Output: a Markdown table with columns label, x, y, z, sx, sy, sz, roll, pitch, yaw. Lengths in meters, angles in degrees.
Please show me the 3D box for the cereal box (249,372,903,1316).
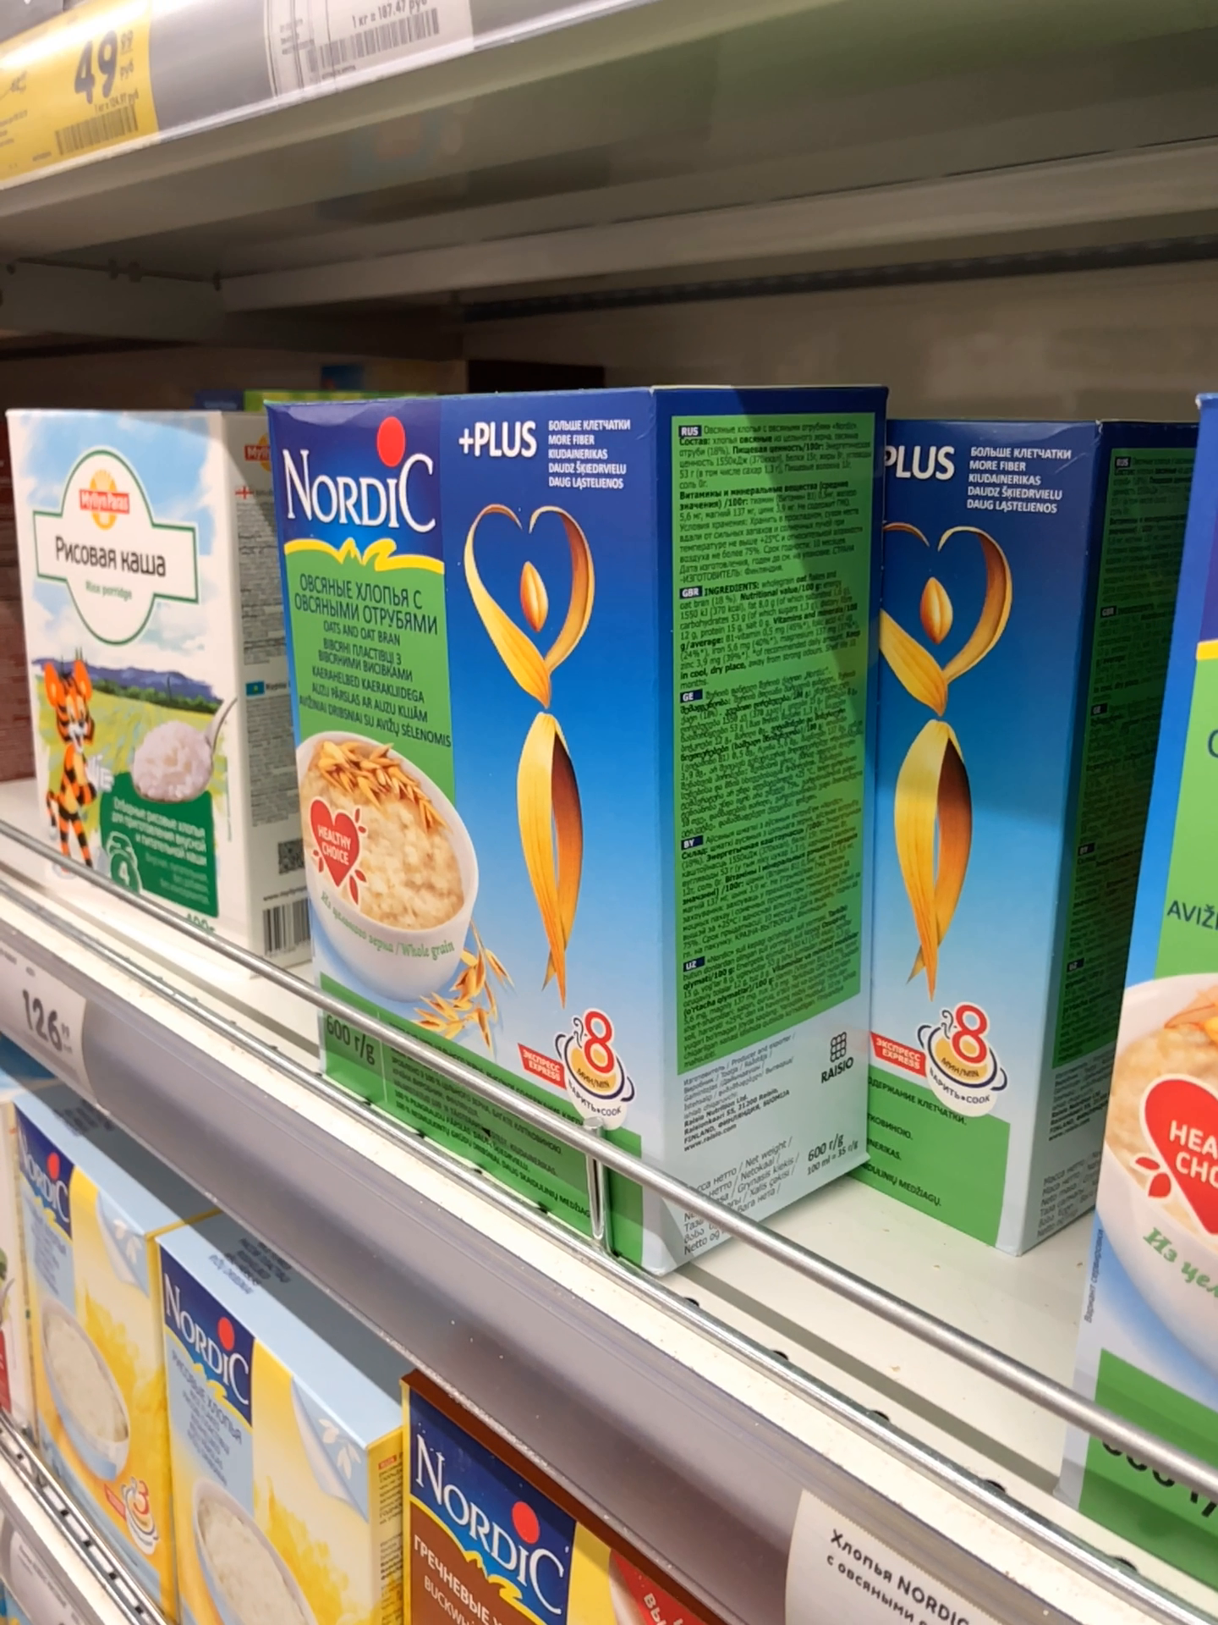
| label | x | y | z | sx | sy | sz | roll | pitch | yaw |
| --- | --- | --- | --- | --- | --- | --- | --- | --- | --- |
| cereal box | -0.015 | -0.007 | 0.337 | 0.070 | 0.189 | 0.150 | -13 | 20 | -40 |
